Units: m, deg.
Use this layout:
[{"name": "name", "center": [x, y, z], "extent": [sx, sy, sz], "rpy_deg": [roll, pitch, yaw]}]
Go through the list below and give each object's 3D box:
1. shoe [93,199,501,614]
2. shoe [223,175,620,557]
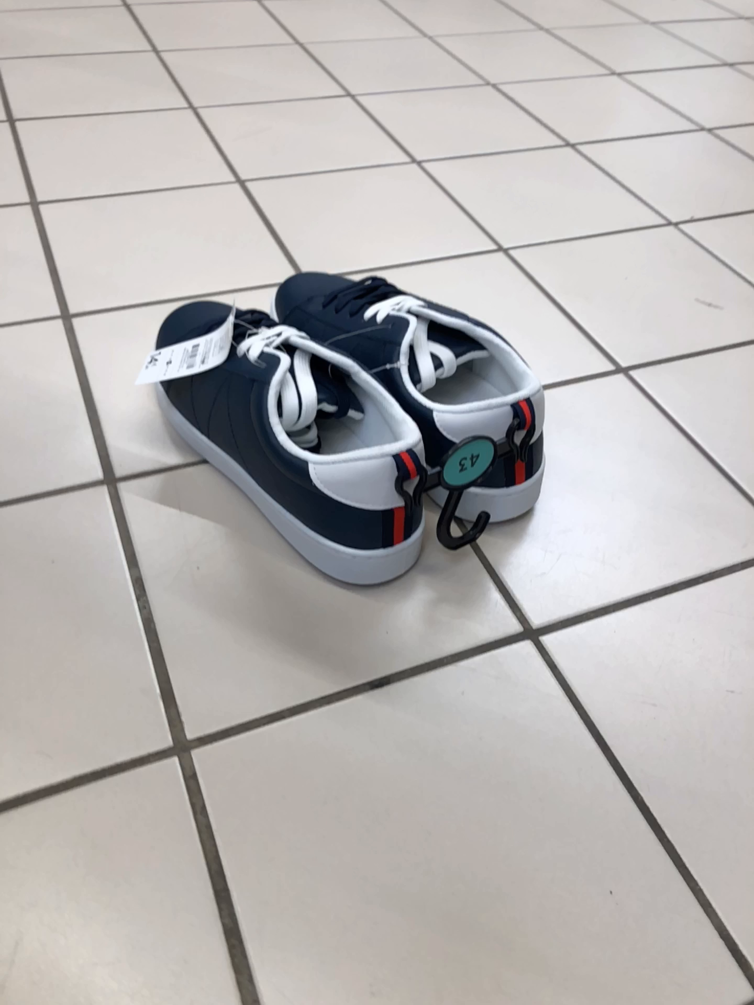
[{"name": "shoe", "center": [-0.065, -0.078, 0.532], "extent": [0.100, 0.099, 0.291], "rpy_deg": [-26, 53, -28]}, {"name": "shoe", "center": [0.012, -0.109, 0.567], "extent": [0.100, 0.099, 0.291], "rpy_deg": [-24, 52, -27]}]
